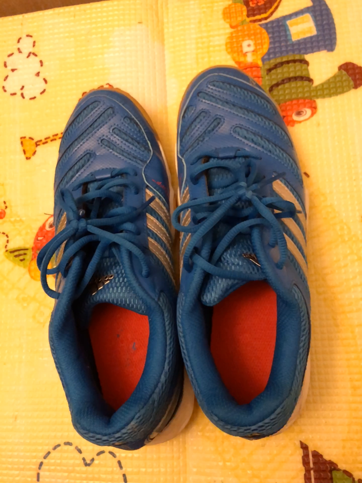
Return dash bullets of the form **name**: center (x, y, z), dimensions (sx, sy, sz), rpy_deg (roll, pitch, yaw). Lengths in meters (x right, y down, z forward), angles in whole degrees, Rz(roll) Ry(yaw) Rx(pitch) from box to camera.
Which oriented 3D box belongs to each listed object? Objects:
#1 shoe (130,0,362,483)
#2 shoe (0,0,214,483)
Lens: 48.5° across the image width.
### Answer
- **shoe**: center (0.042, -0.007, 0.286), dimensions (0.110, 0.120, 0.290), rpy_deg (-6, 79, 9)
- **shoe**: center (-0.052, -0.003, 0.303), dimensions (0.110, 0.140, 0.290), rpy_deg (-7, 79, 9)
